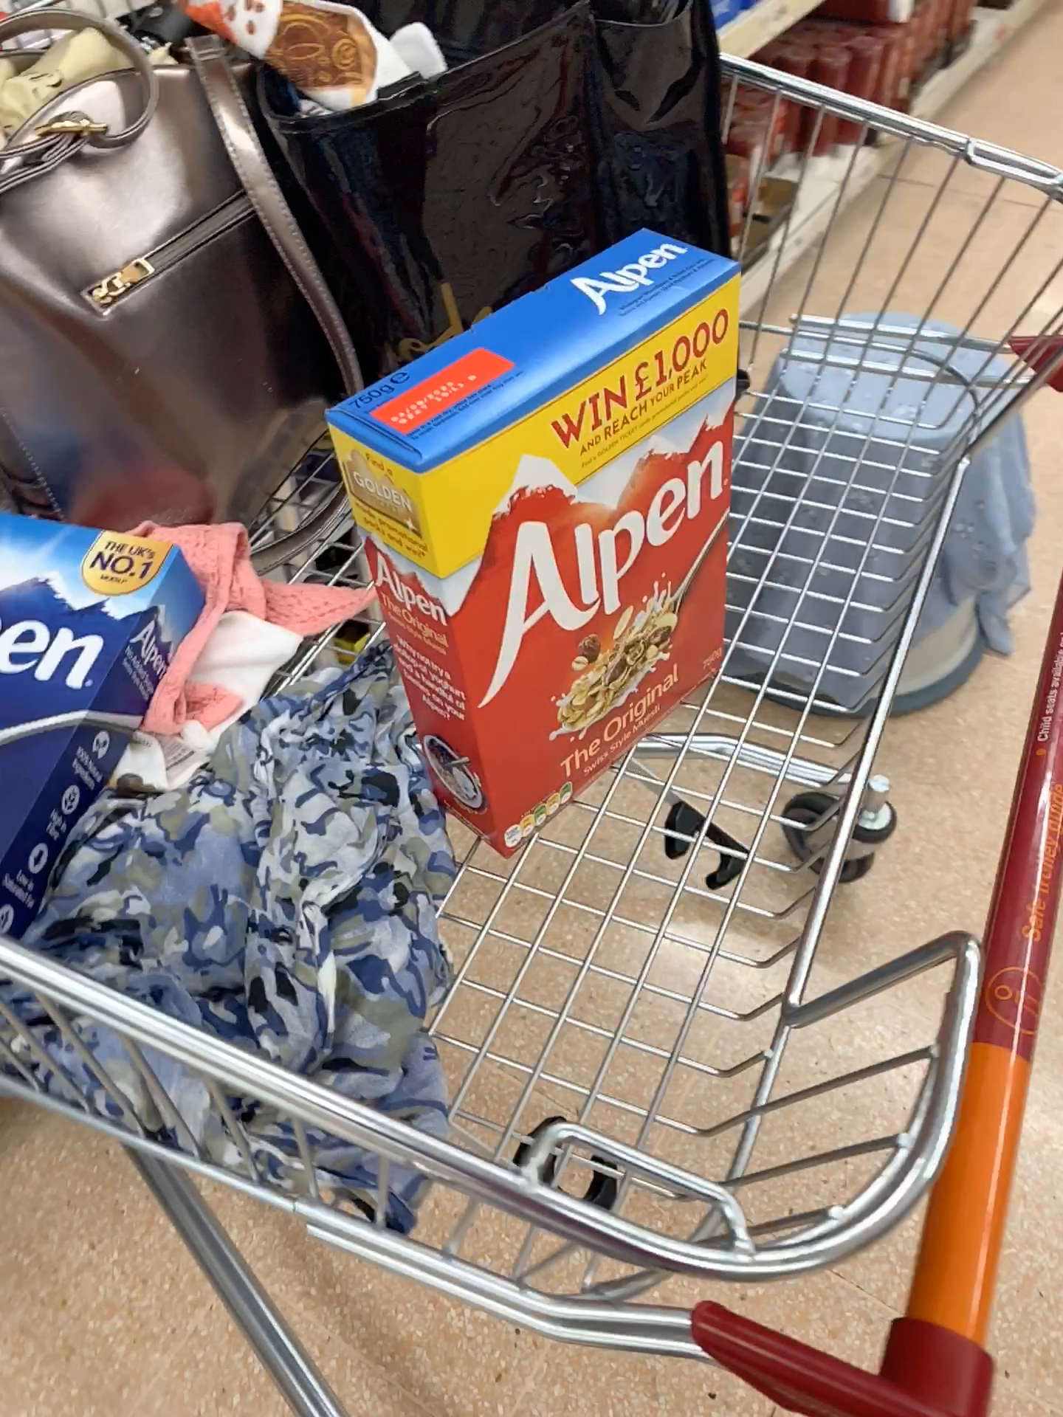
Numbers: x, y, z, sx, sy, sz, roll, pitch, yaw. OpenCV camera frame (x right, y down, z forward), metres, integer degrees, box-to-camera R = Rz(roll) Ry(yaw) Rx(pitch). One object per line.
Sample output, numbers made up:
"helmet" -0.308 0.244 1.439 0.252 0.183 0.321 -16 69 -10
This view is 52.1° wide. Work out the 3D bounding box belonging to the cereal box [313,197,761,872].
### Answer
"cereal box" 0.014 -0.069 0.497 0.060 0.248 0.181 33 58 29
